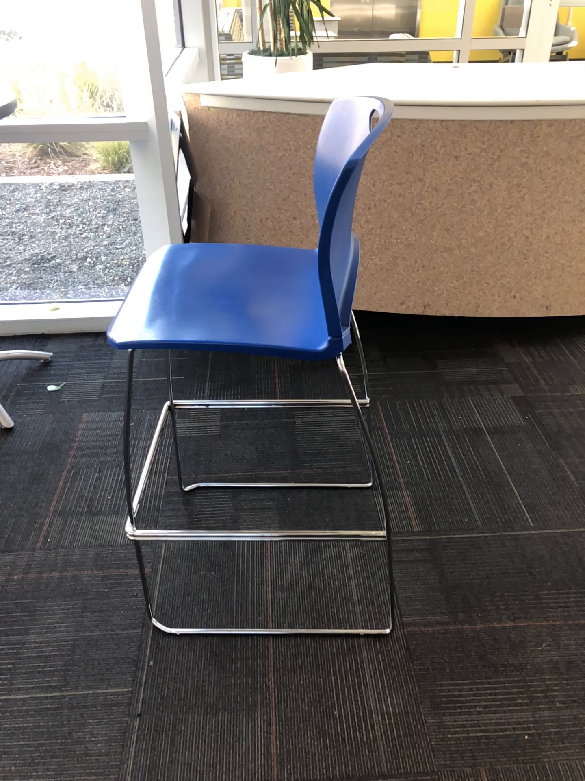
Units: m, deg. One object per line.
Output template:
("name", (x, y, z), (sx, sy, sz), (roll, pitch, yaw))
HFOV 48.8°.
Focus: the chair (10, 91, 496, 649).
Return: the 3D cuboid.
("chair", (-0.035, -0.027, 1.299), (0.610, 0.965, 0.553), (0, 33, 2))
